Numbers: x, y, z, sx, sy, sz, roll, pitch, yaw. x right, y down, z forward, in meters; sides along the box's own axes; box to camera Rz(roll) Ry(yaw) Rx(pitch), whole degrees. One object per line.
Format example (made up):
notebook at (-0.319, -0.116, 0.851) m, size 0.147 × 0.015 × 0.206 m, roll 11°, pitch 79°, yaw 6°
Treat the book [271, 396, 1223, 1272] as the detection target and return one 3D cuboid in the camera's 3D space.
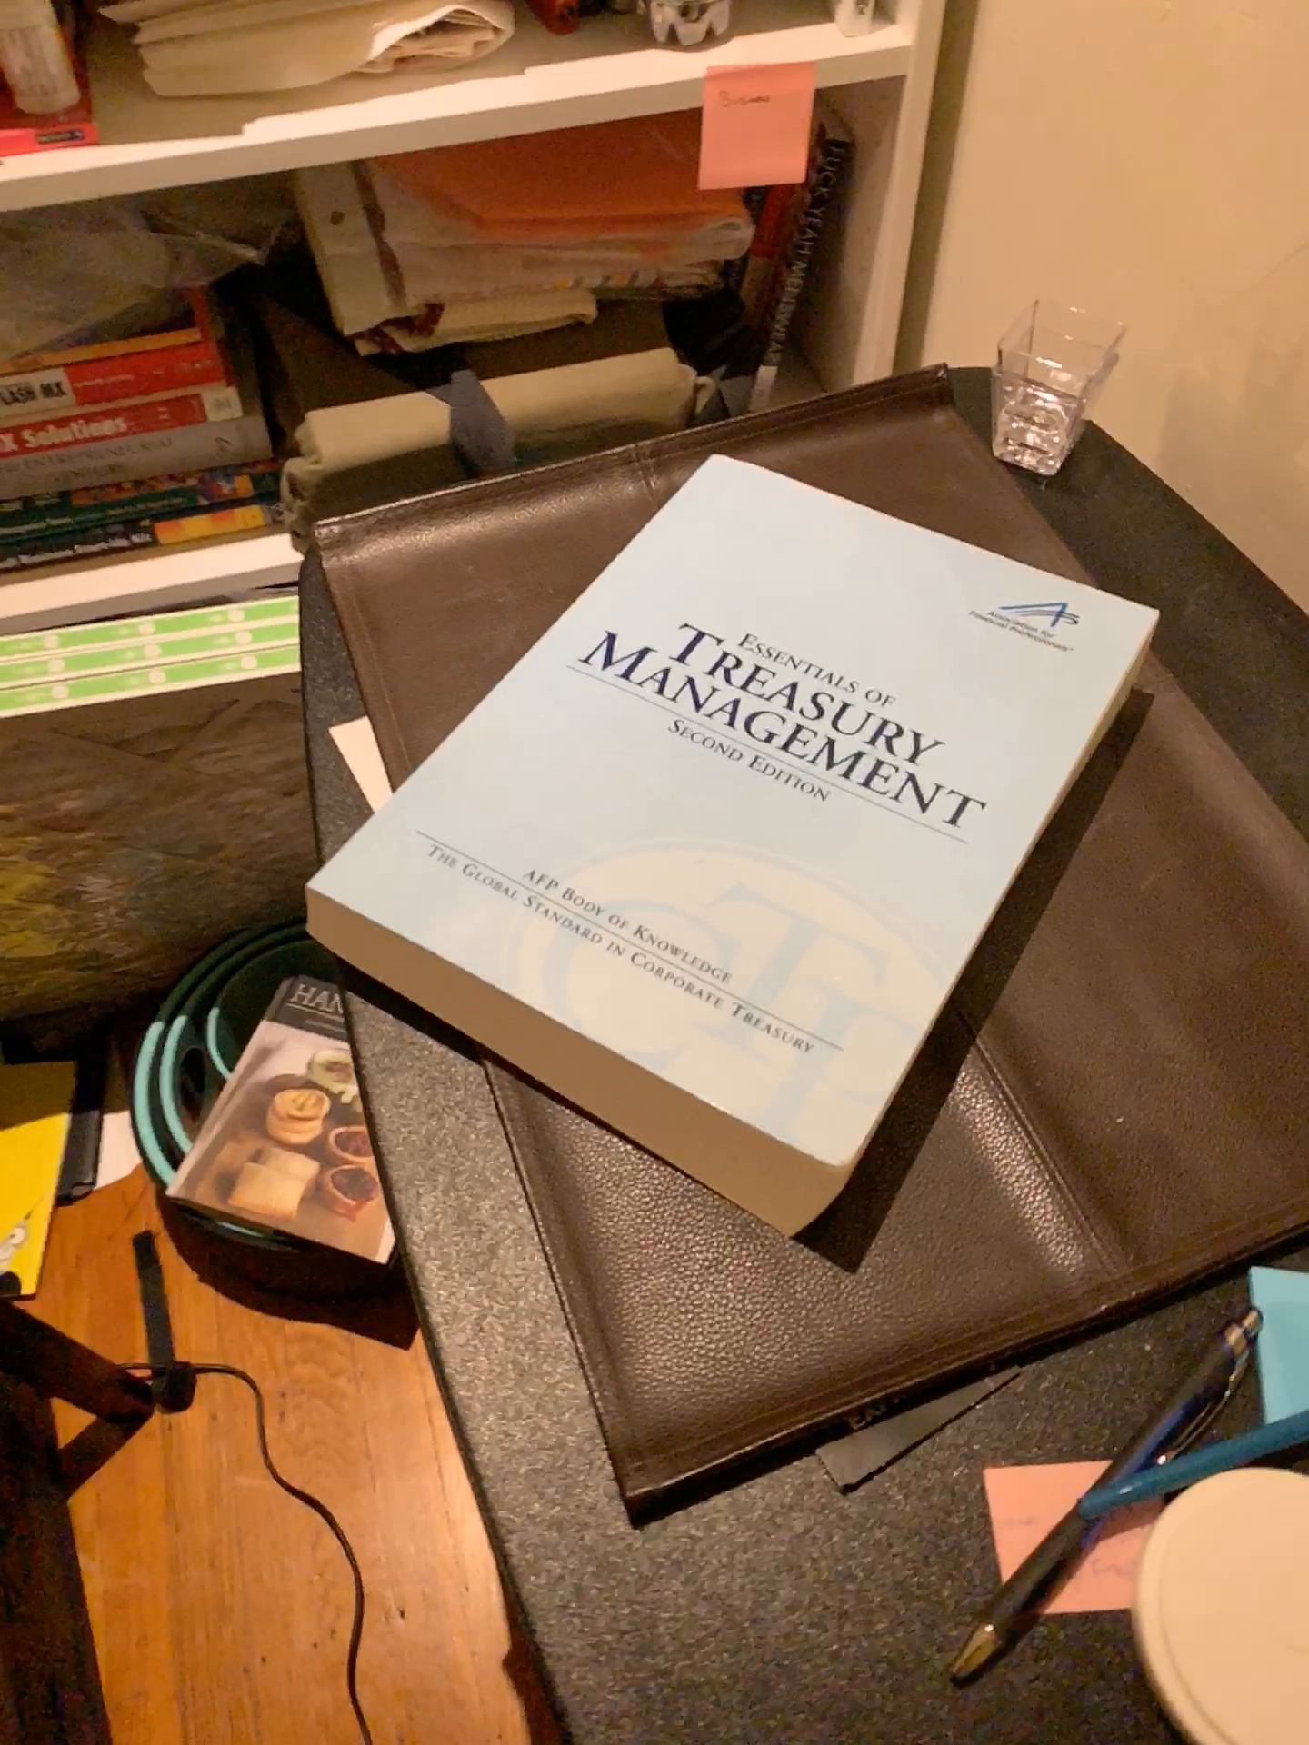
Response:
book at (0.047, -0.043, 0.505) m, size 0.220 × 0.060 × 0.301 m, roll 27°, pitch 59°, yaw 19°
